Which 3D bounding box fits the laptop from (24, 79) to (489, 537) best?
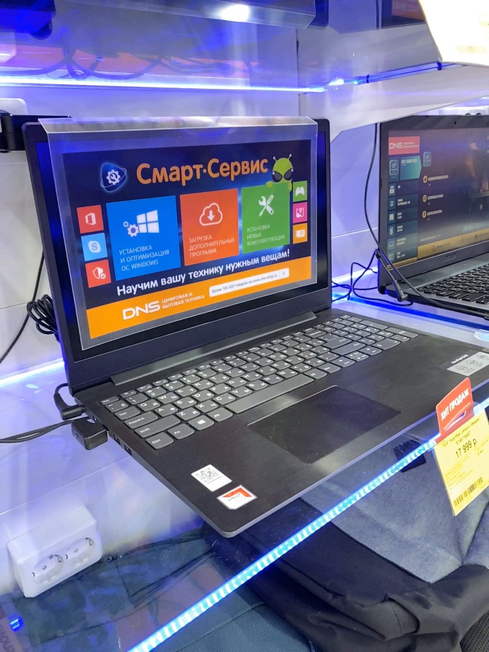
[{"bbox_3d":[0.048,-0.064,0.452,0.361,0.239,0.258,-16,23,-35],"label":"laptop"}]
